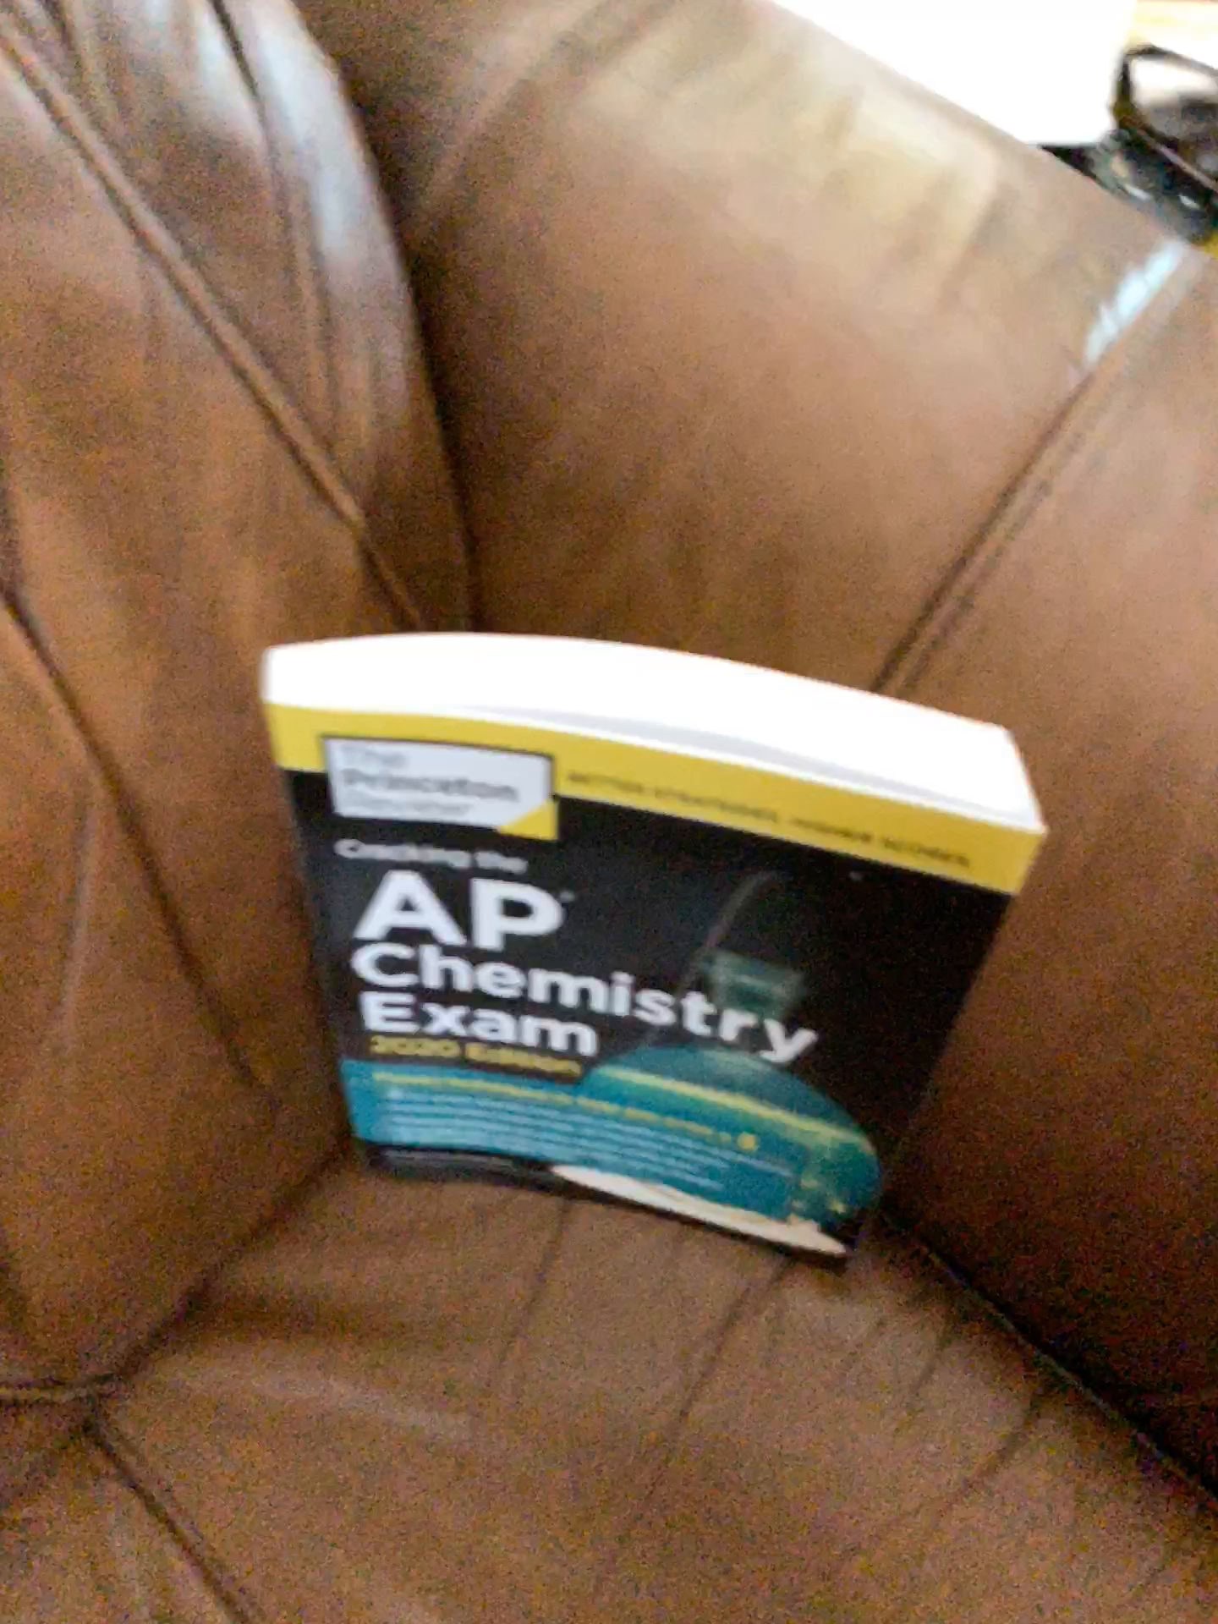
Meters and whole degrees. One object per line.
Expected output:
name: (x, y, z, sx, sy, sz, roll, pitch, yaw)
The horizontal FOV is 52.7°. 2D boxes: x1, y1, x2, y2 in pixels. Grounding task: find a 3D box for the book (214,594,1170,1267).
book: (0.012, 0.073, 0.445, 0.240, 0.319, 0.040, 10, 53, 4)
